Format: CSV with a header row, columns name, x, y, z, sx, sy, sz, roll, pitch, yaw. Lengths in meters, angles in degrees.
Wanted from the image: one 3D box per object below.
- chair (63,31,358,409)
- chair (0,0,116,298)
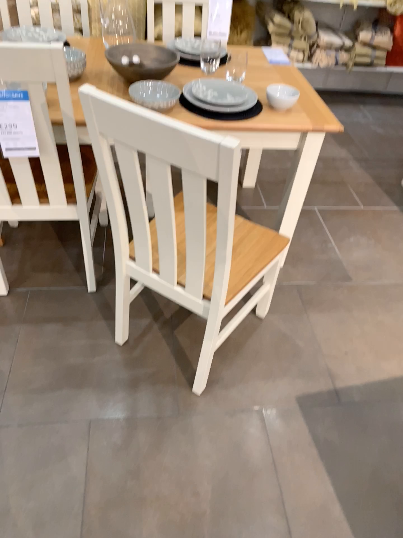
name,x,y,z,sx,sy,sz,roll,pitch,yaw
chair,0.015,-0.128,1.299,0.503,0.924,0.550,26,47,19
chair,-0.600,-0.405,1.519,0.471,0.924,0.541,0,44,-7
